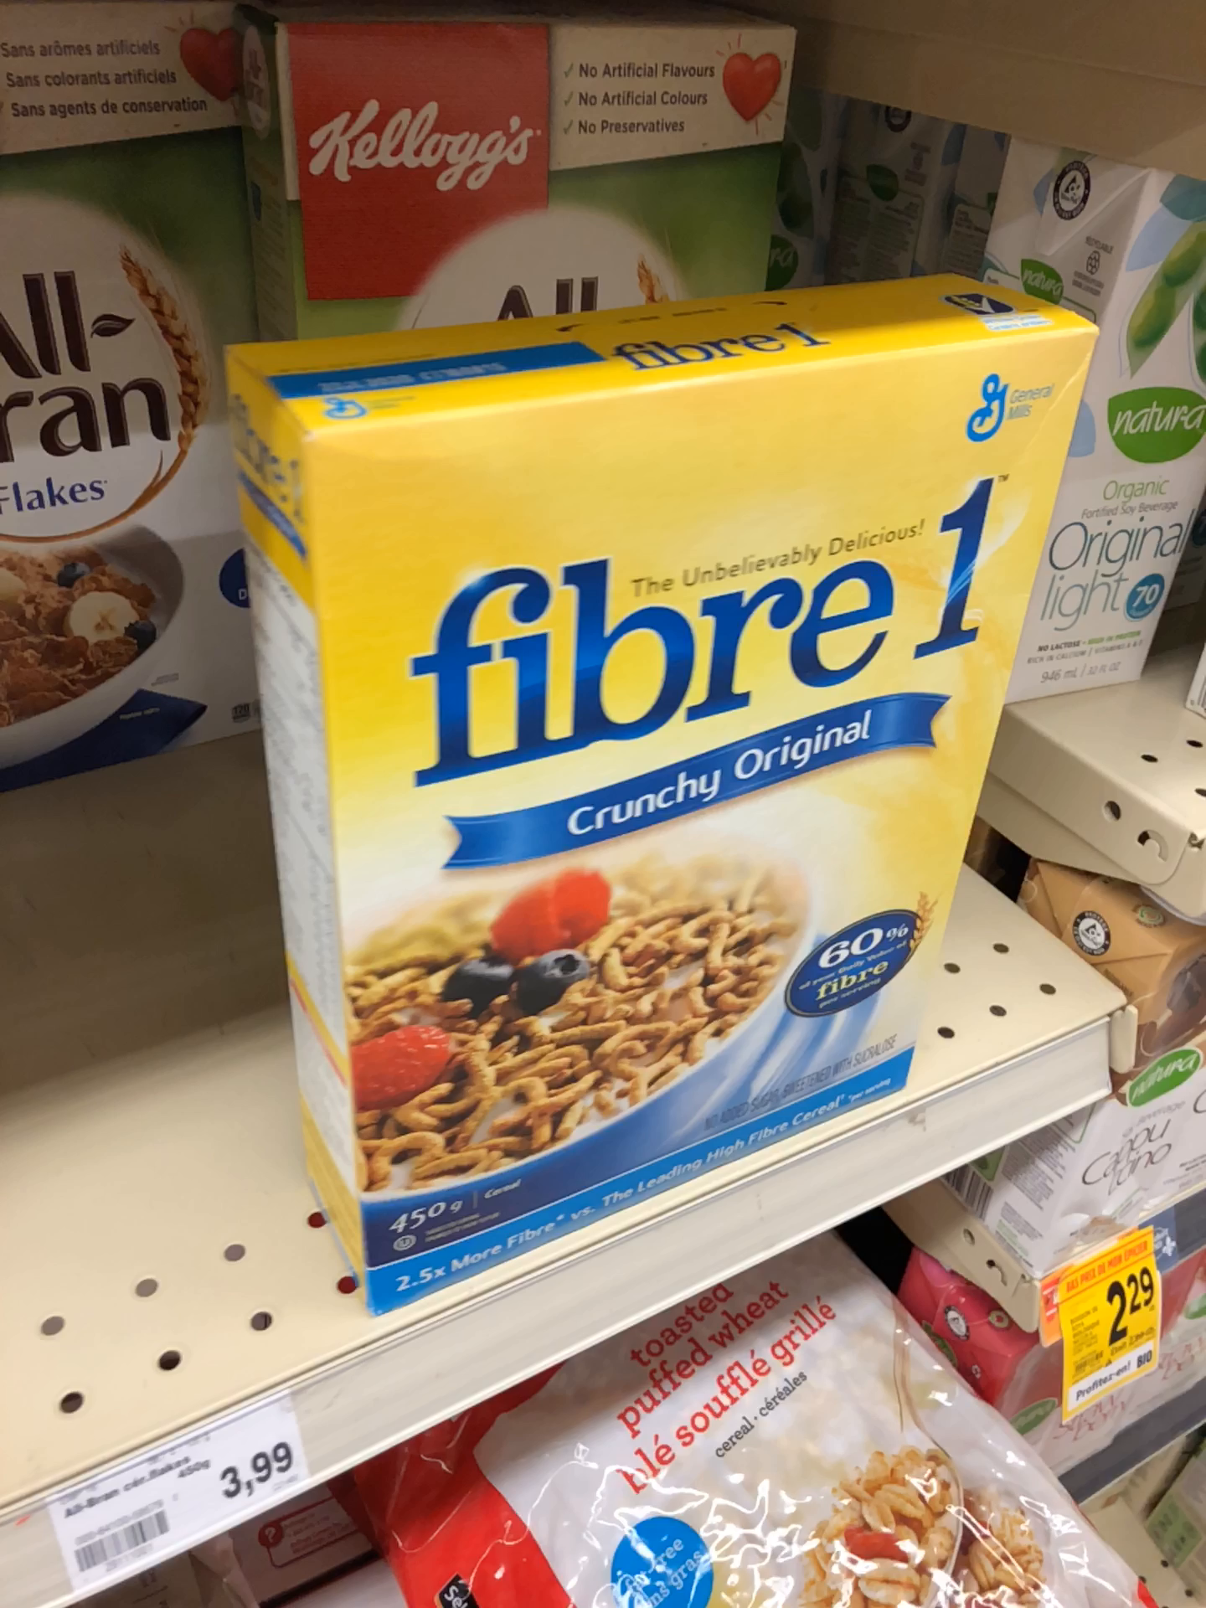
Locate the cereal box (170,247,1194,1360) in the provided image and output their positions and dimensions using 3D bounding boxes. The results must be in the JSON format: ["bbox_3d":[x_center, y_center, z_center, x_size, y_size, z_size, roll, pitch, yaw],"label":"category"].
[{"bbox_3d":[0.019,0.002,0.344,0.210,0.248,0.060,-16,40,-26],"label":"cereal box"}]
